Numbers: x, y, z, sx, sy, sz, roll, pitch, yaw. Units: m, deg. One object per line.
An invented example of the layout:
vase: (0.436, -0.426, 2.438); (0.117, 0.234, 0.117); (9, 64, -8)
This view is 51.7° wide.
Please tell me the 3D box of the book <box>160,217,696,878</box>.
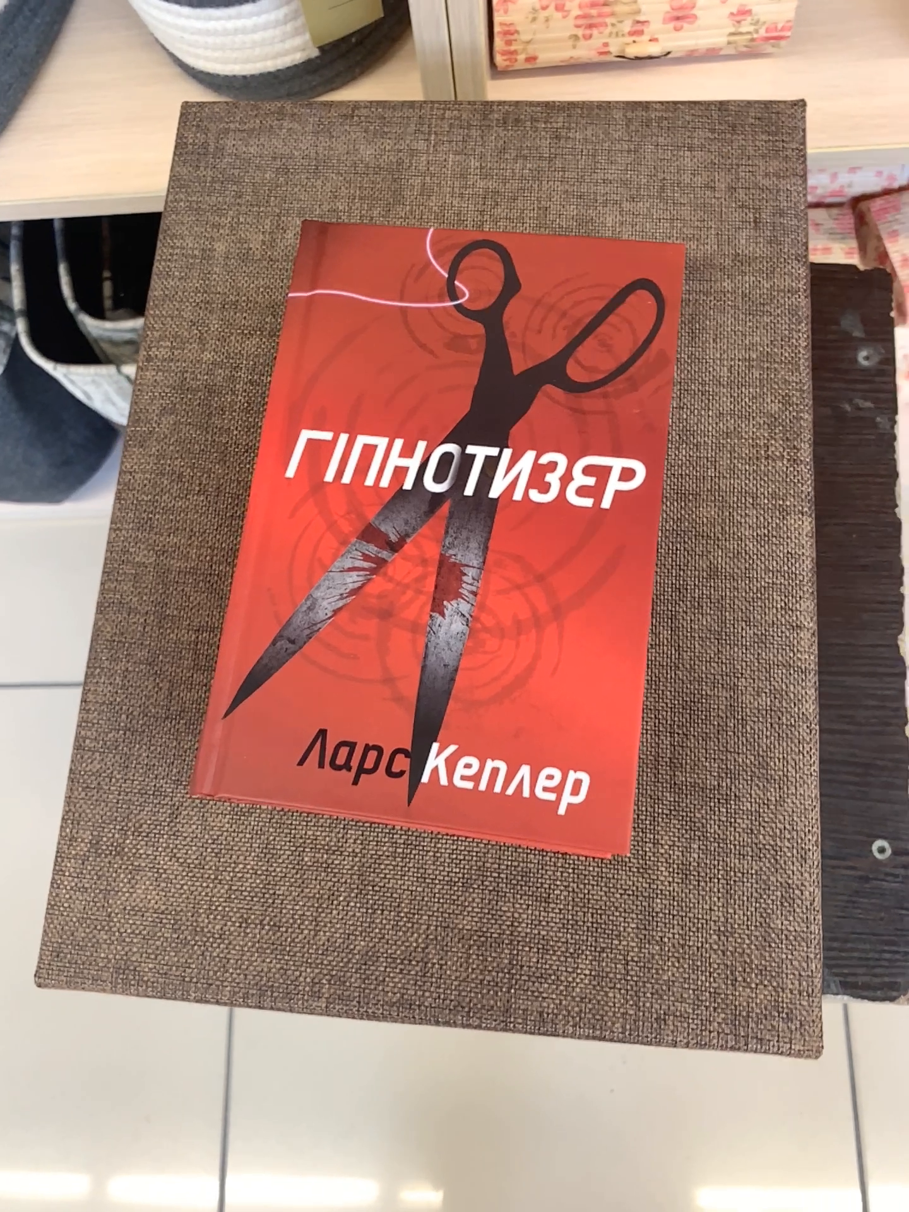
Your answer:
book: (-0.001, -0.022, 0.311); (0.131, 0.060, 0.195); (7, 76, 9)
